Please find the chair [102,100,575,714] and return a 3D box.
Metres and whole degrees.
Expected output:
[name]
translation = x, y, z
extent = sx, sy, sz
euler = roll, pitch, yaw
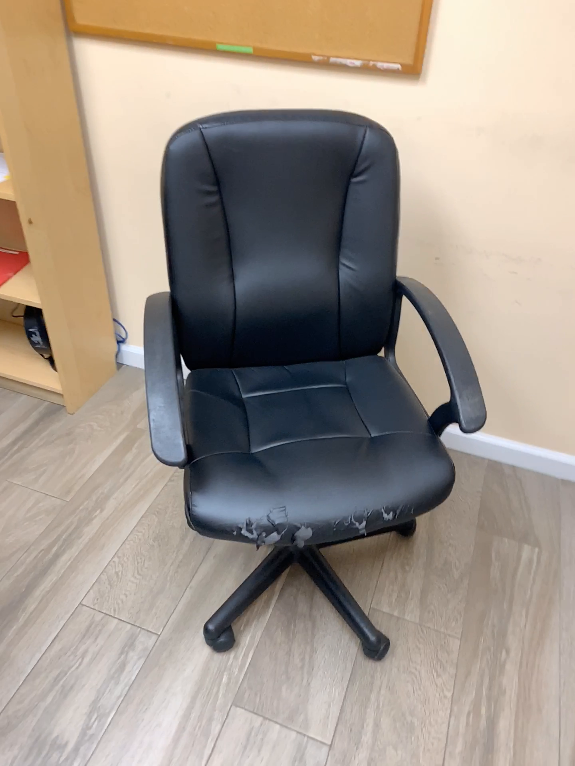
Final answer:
[chair]
translation = 0.067, 0.047, 1.173
extent = 0.682, 0.986, 0.648
euler = -4, 38, -11
